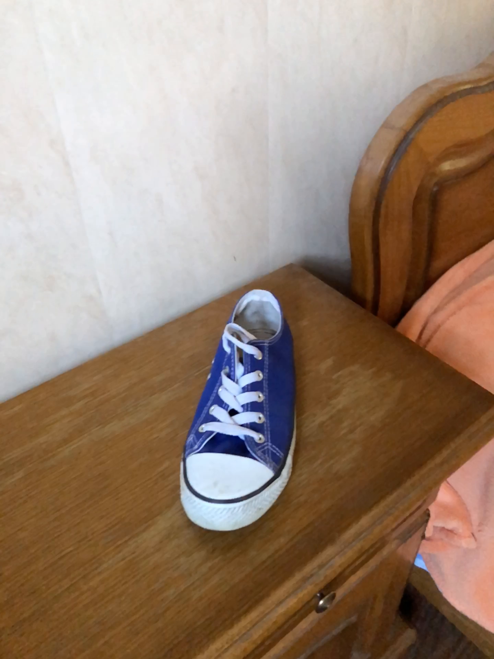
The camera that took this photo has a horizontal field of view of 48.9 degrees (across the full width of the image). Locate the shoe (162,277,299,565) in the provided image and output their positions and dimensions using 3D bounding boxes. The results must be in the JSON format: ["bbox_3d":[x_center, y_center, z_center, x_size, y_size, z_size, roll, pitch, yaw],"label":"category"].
[{"bbox_3d":[-0.001,0.063,0.497,0.090,0.089,0.262,2,39,5],"label":"shoe"}]
